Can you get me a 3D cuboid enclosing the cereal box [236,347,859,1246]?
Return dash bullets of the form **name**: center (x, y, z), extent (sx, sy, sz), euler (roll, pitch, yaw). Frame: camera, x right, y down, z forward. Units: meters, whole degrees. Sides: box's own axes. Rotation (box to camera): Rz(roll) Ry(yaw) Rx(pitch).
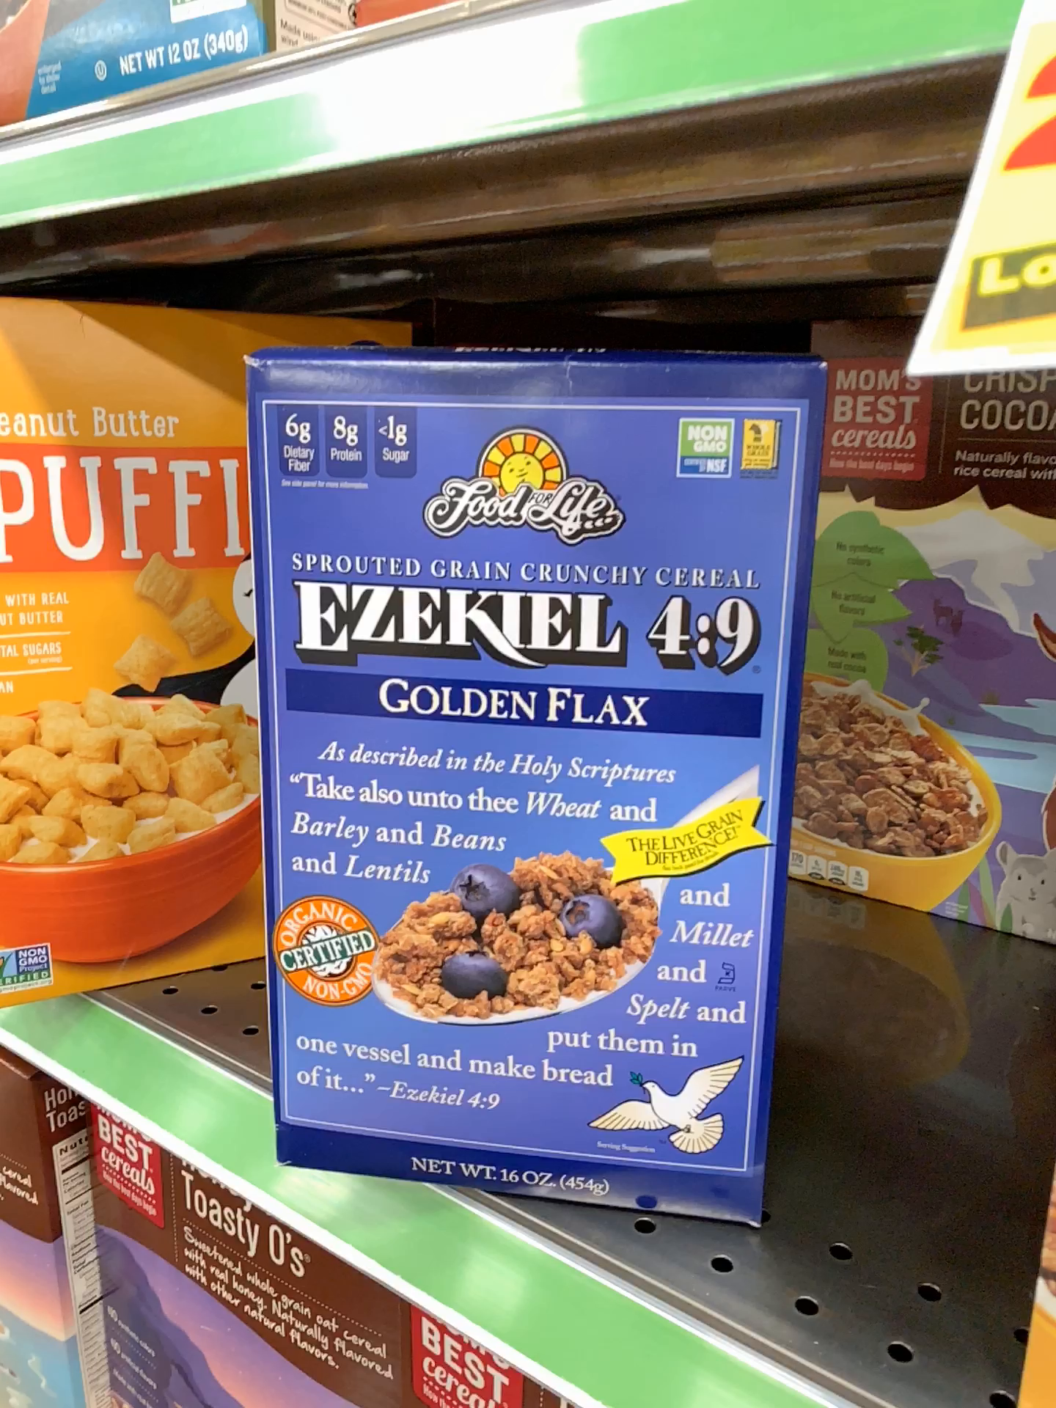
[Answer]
- **cereal box**: center (0.004, 0.025, 0.331), extent (0.160, 0.249, 0.060), euler (3, 12, 9)
